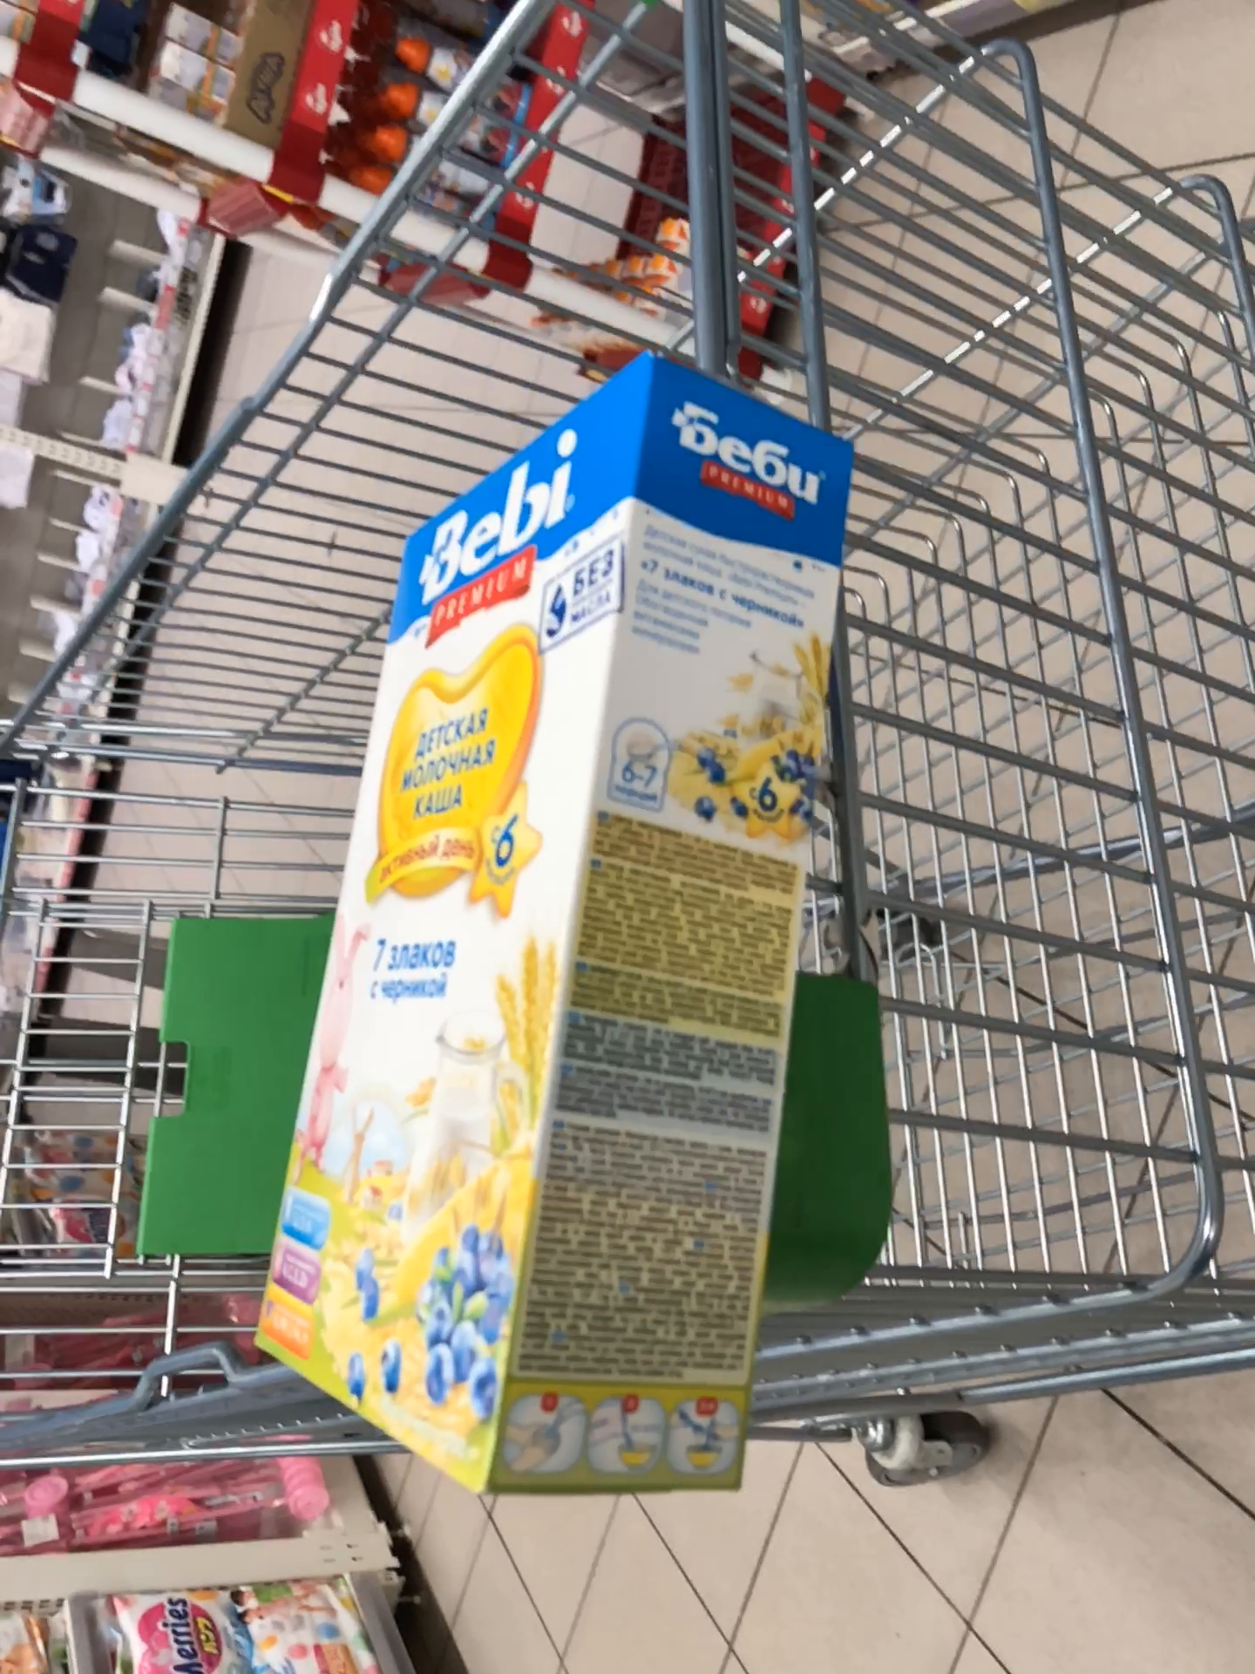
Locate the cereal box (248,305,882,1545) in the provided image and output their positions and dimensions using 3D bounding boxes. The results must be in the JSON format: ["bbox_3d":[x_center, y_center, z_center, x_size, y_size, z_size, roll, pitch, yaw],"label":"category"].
[{"bbox_3d":[-0.020,0.018,0.301,0.141,0.050,0.210,-13,67,58],"label":"cereal box"}]
